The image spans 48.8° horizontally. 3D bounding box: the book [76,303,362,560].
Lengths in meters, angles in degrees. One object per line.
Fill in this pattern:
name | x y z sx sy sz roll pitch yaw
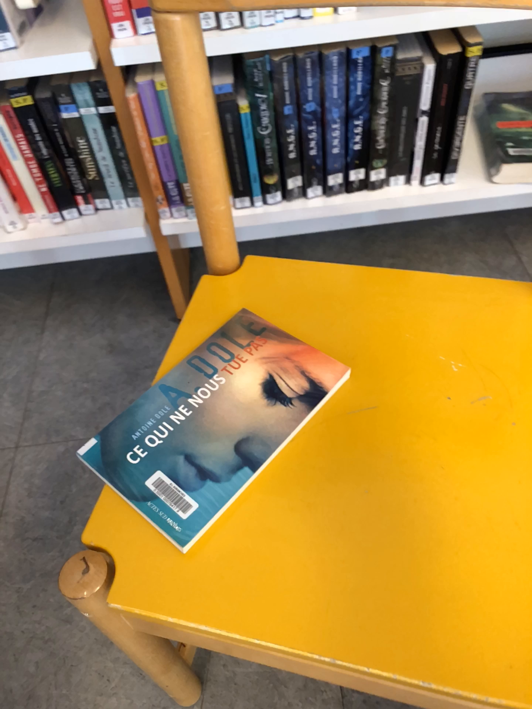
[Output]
book | -0.036 0.051 0.510 0.140 0.016 0.213 31 59 29
